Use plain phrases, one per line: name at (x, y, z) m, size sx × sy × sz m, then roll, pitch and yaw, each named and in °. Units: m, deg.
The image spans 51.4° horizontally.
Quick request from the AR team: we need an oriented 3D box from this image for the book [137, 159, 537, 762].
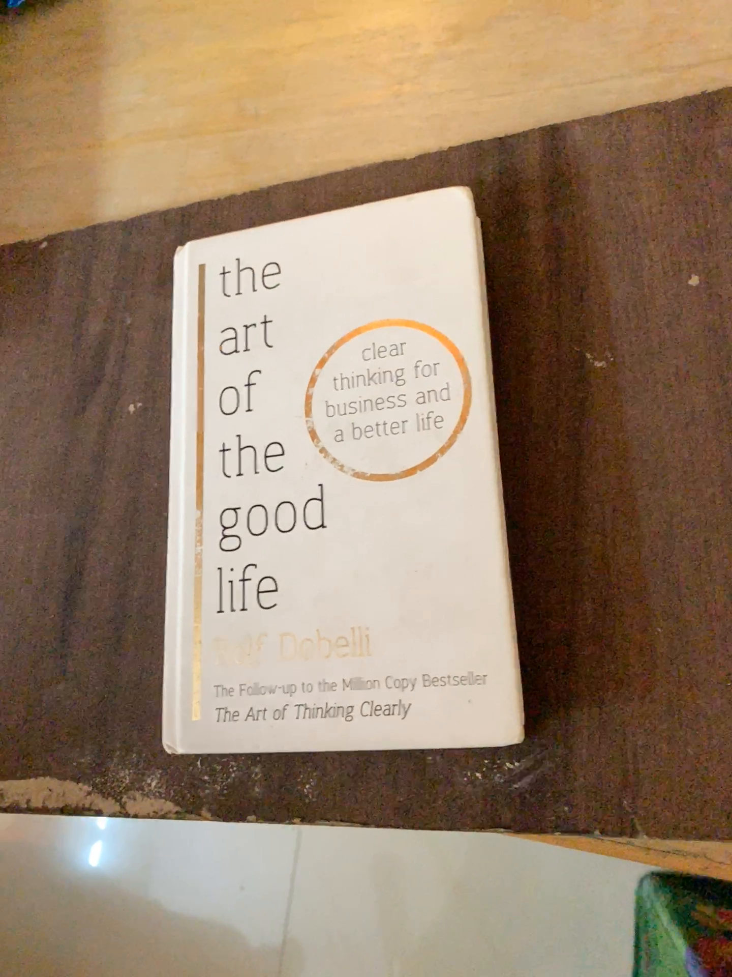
book at (-0.012, -0.007, 0.254) m, size 0.117 × 0.037 × 0.180 m, roll -6°, pitch 77°, yaw 16°
